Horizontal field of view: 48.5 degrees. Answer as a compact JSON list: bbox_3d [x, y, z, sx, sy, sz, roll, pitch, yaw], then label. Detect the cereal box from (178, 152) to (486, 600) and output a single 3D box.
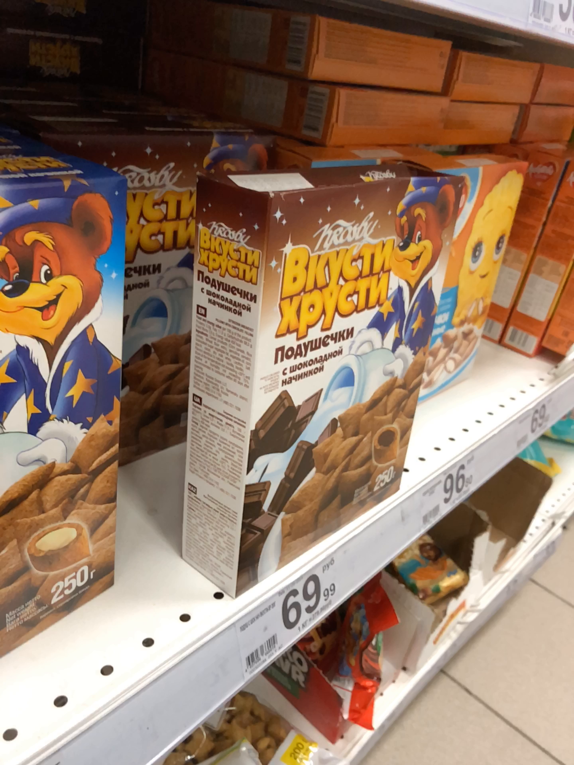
[{"bbox_3d":[0.026,-0.013,0.382,0.050,0.229,0.181,27,32,36],"label":"cereal box"}]
